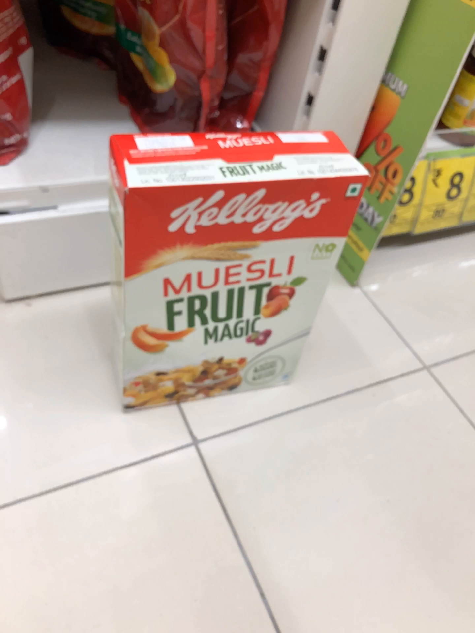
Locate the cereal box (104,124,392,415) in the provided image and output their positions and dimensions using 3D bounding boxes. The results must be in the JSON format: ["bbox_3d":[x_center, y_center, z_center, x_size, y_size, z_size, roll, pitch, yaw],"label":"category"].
[{"bbox_3d":[-0.009,-0.033,0.460,0.191,0.238,0.080,-8,49,-19],"label":"cereal box"}]
